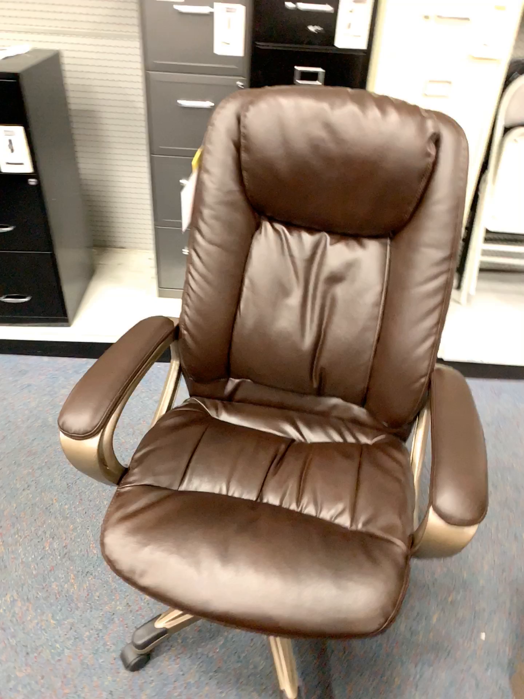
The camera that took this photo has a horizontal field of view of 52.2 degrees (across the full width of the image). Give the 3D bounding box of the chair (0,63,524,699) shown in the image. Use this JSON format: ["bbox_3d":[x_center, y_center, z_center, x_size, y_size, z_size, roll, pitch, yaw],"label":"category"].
[{"bbox_3d":[0.046,0.130,1.091,0.724,1.112,0.815,12,37,12],"label":"chair"}]
